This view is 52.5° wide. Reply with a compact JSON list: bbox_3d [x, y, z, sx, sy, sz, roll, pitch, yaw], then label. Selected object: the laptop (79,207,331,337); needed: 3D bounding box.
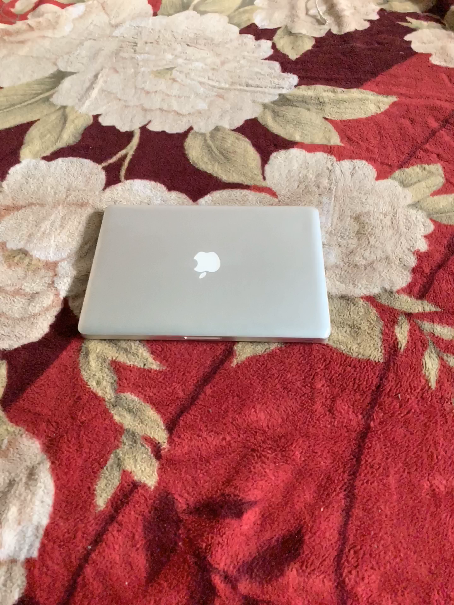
[{"bbox_3d":[-0.025,-0.049,0.619,0.310,0.001,0.210,1,59,2],"label":"laptop"}]
